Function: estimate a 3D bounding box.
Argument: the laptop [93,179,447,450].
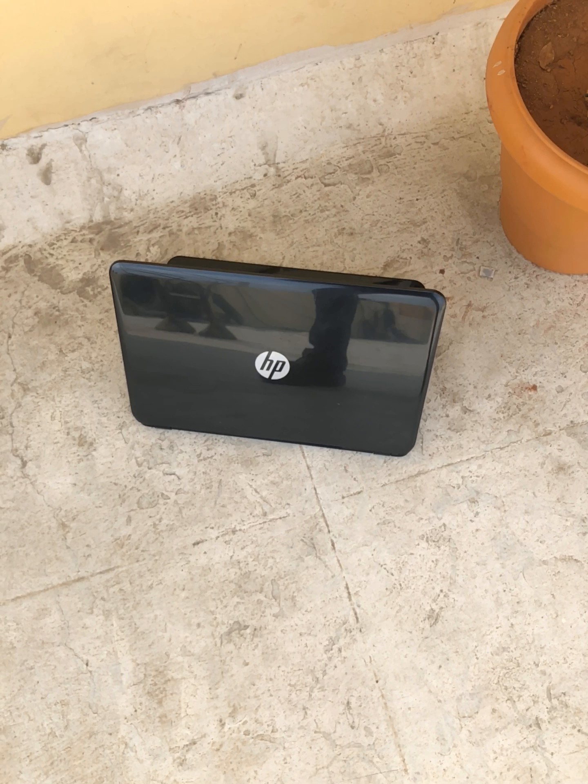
[{"bbox_3d":[-0.019,-0.081,0.776,0.344,0.190,0.221,7,76,4],"label":"laptop"}]
